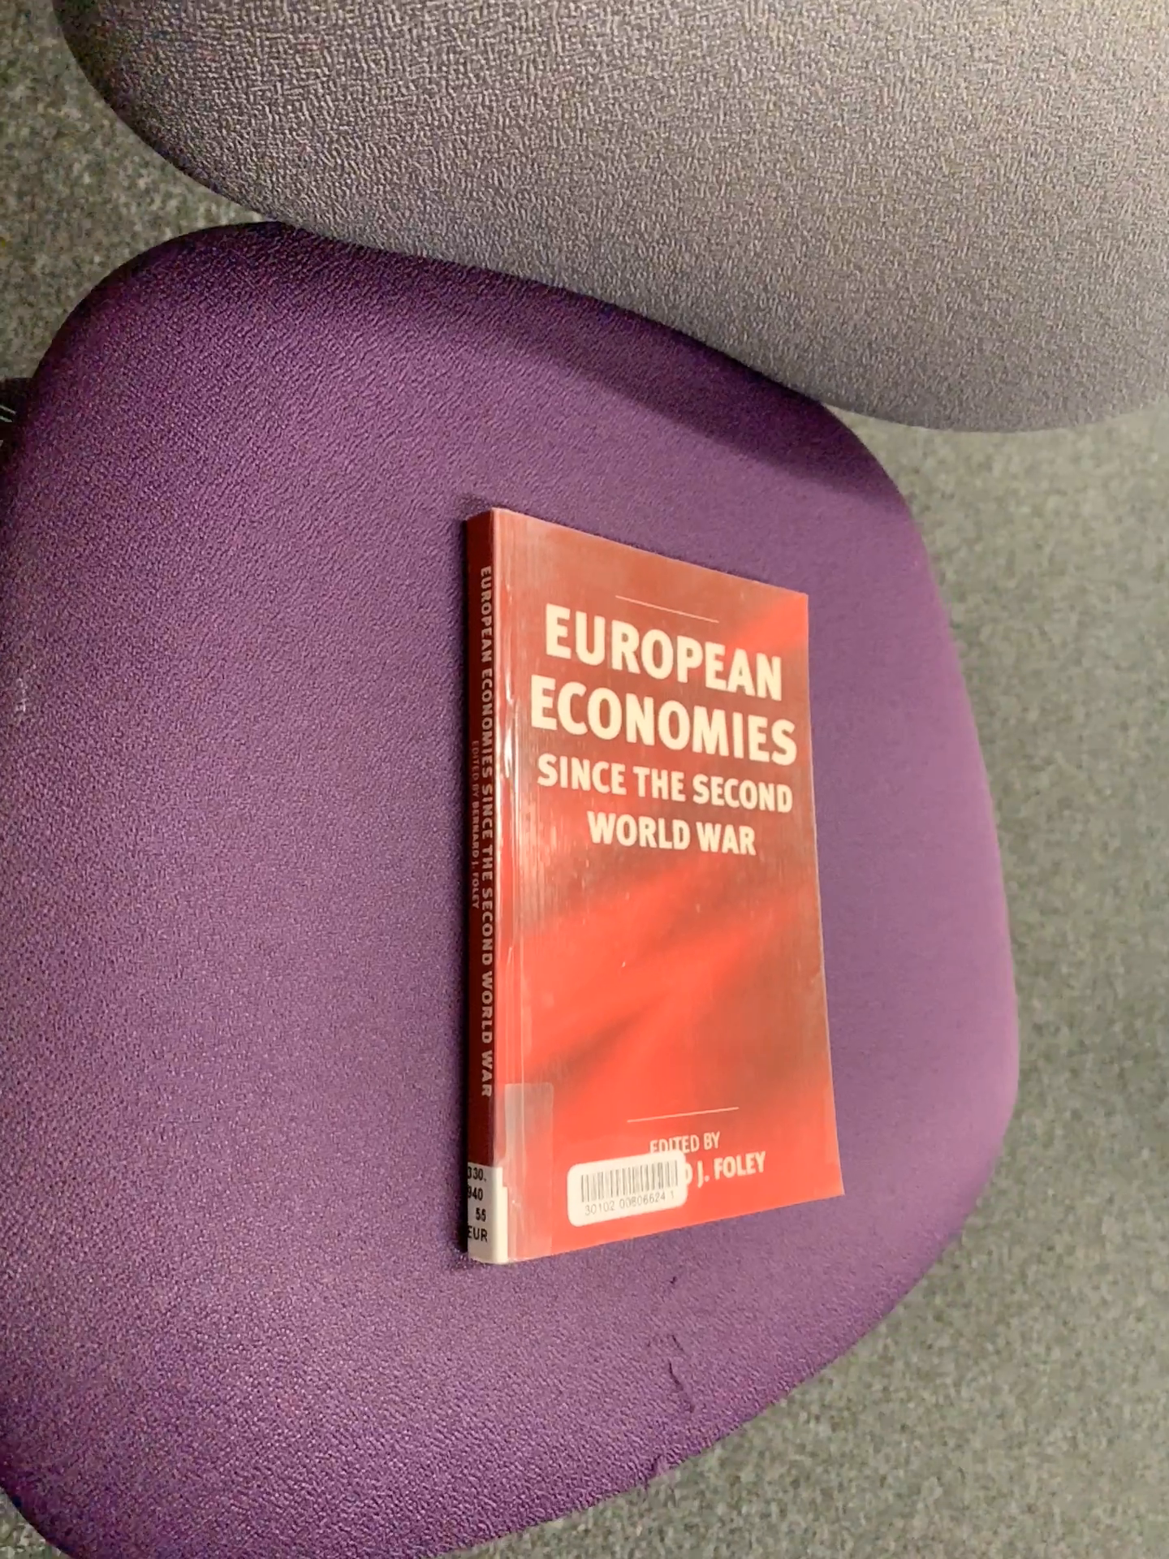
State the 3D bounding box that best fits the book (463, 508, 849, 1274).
[{"bbox_3d":[0.027,0.034,0.408,0.149,0.020,0.225,6,78,-38],"label":"book"}]
